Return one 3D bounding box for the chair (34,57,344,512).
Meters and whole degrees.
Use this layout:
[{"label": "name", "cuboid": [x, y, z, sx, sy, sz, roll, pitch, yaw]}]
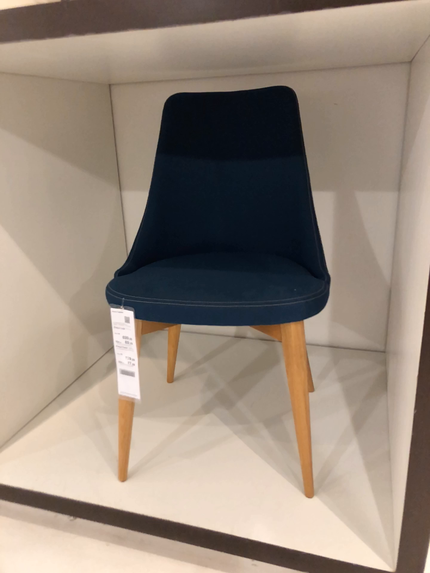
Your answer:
[{"label": "chair", "cuboid": [0.016, -0.031, 1.139, 0.520, 0.865, 0.523, 1, 19, 12]}]
